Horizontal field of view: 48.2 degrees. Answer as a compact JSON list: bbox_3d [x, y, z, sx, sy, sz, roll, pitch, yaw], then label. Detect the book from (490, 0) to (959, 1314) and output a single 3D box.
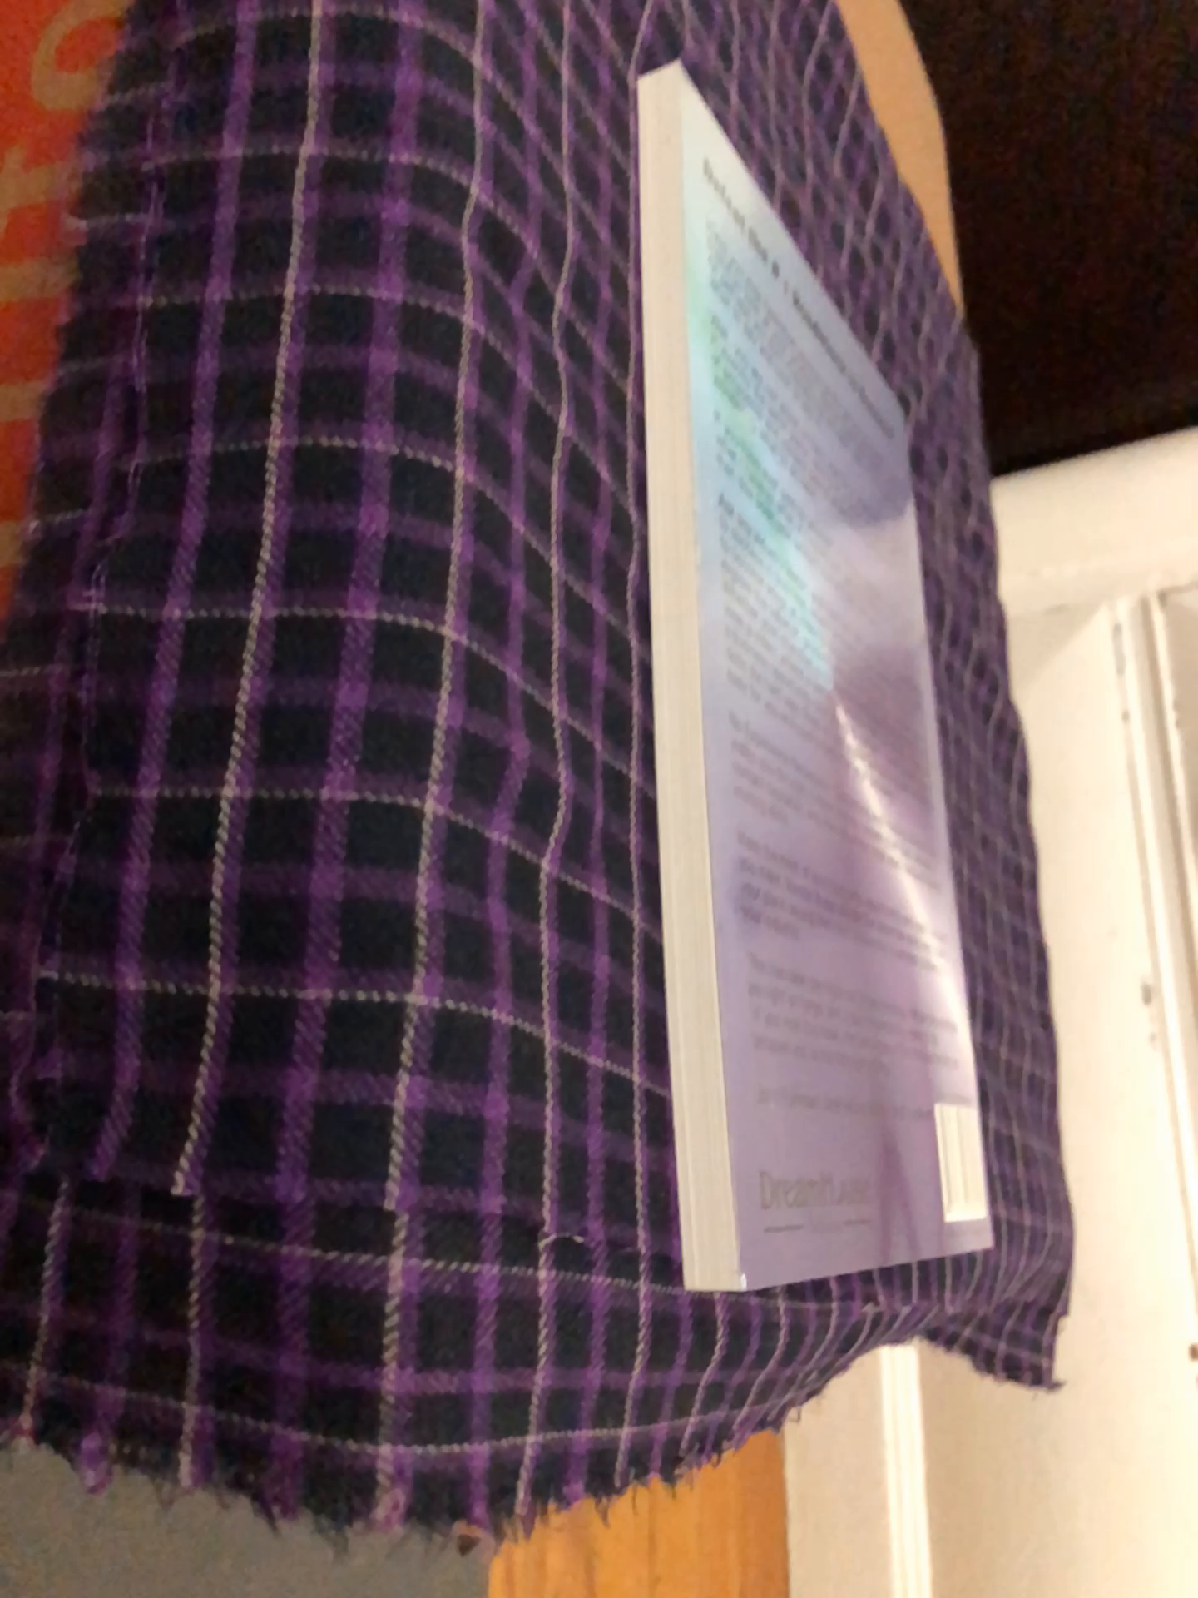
[{"bbox_3d":[0.031,-0.020,0.273,0.161,0.020,0.220,25,59,-57],"label":"book"}]
